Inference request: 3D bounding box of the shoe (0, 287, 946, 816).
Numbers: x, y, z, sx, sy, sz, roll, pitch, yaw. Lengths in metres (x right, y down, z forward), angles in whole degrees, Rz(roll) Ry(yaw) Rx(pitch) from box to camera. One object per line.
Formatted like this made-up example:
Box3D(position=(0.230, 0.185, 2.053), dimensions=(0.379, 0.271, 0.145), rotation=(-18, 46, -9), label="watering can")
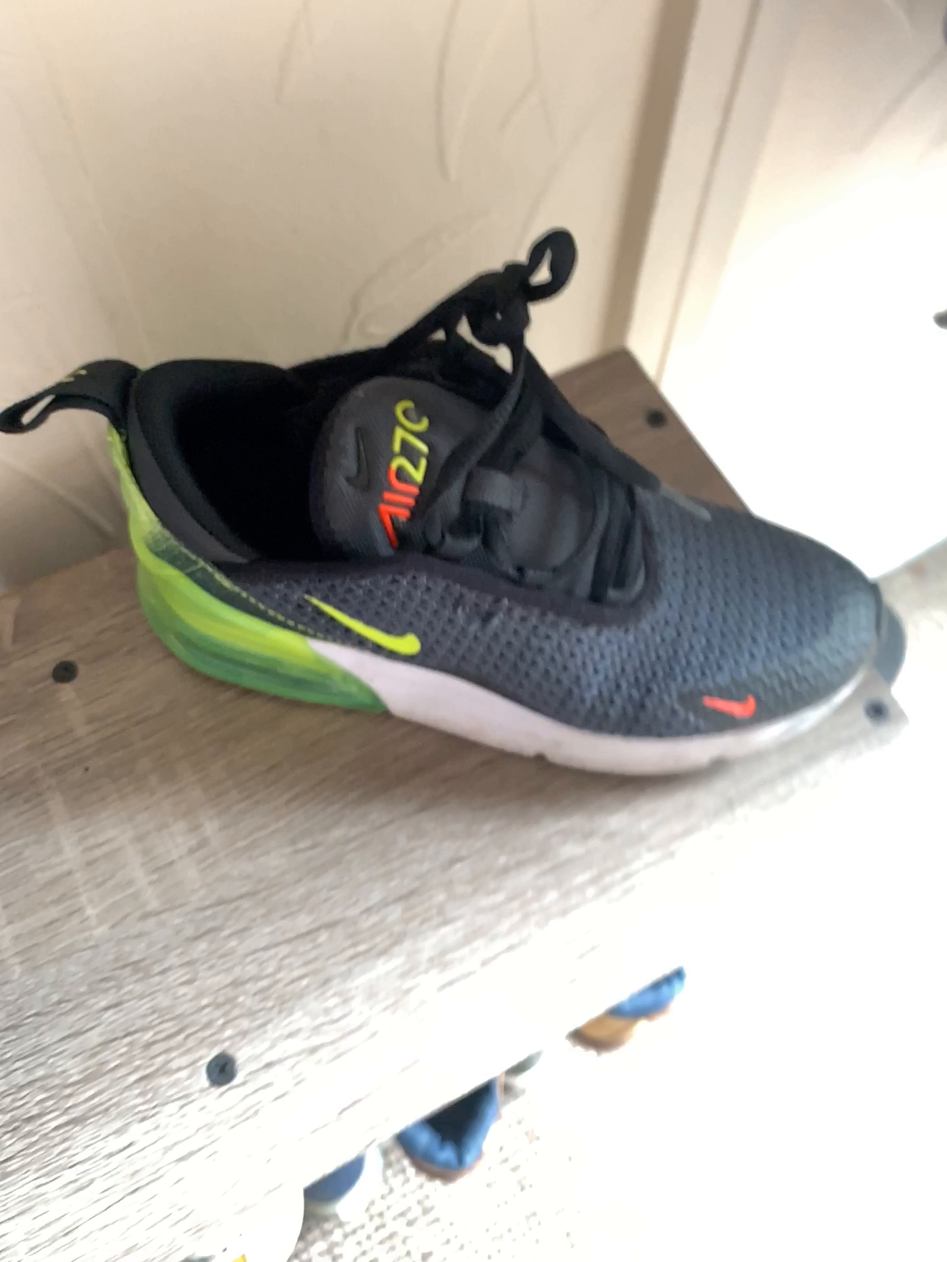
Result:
Box3D(position=(0.007, -0.018, 0.303), dimensions=(0.247, 0.109, 0.090), rotation=(7, 63, 2), label="shoe")
